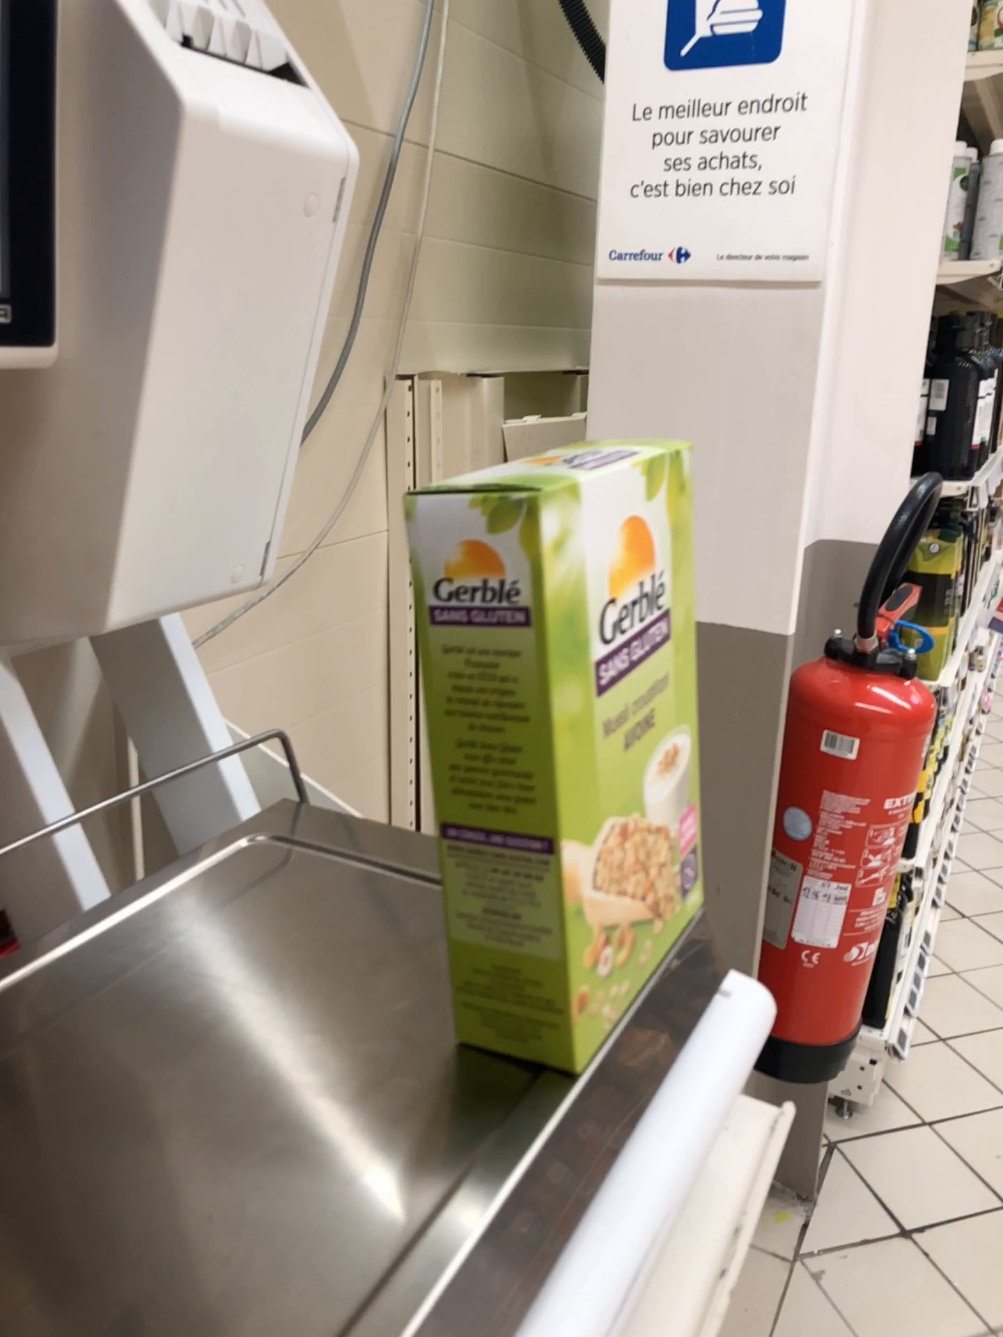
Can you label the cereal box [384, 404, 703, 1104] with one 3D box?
[{"bbox_3d":[0.029,0.021,0.430,0.050,0.229,0.151,4,18,28],"label":"cereal box"}]
